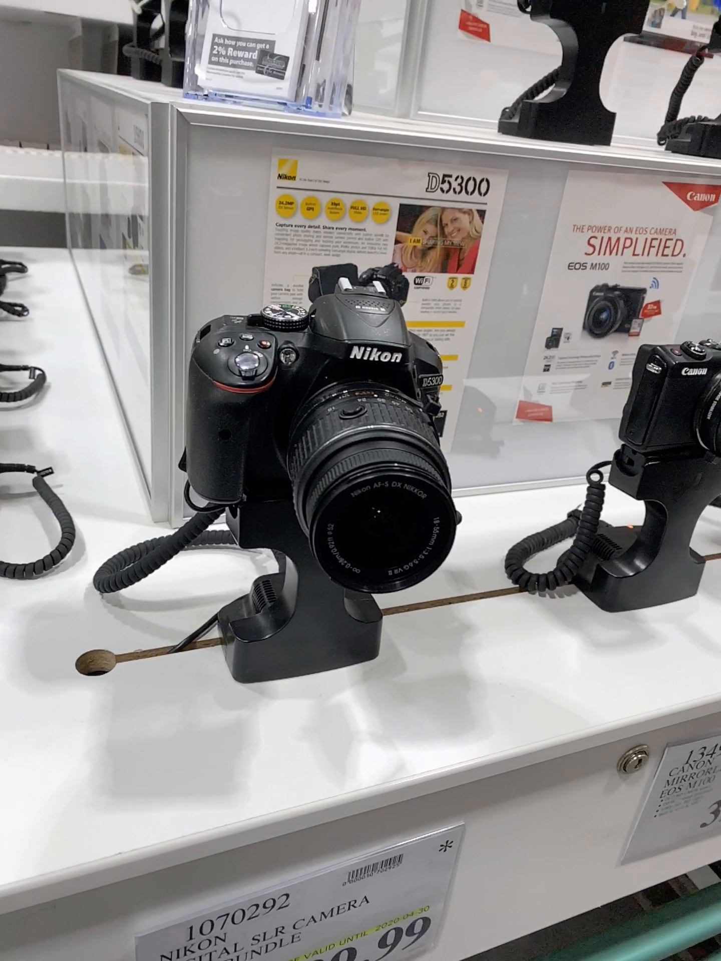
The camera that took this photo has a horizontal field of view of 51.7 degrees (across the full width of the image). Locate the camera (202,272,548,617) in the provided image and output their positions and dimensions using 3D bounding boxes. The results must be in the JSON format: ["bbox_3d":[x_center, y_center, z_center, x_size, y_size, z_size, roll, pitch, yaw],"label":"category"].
[{"bbox_3d":[-0.010,-0.026,0.345,0.120,0.099,0.151,0,27,-13],"label":"camera"}]
